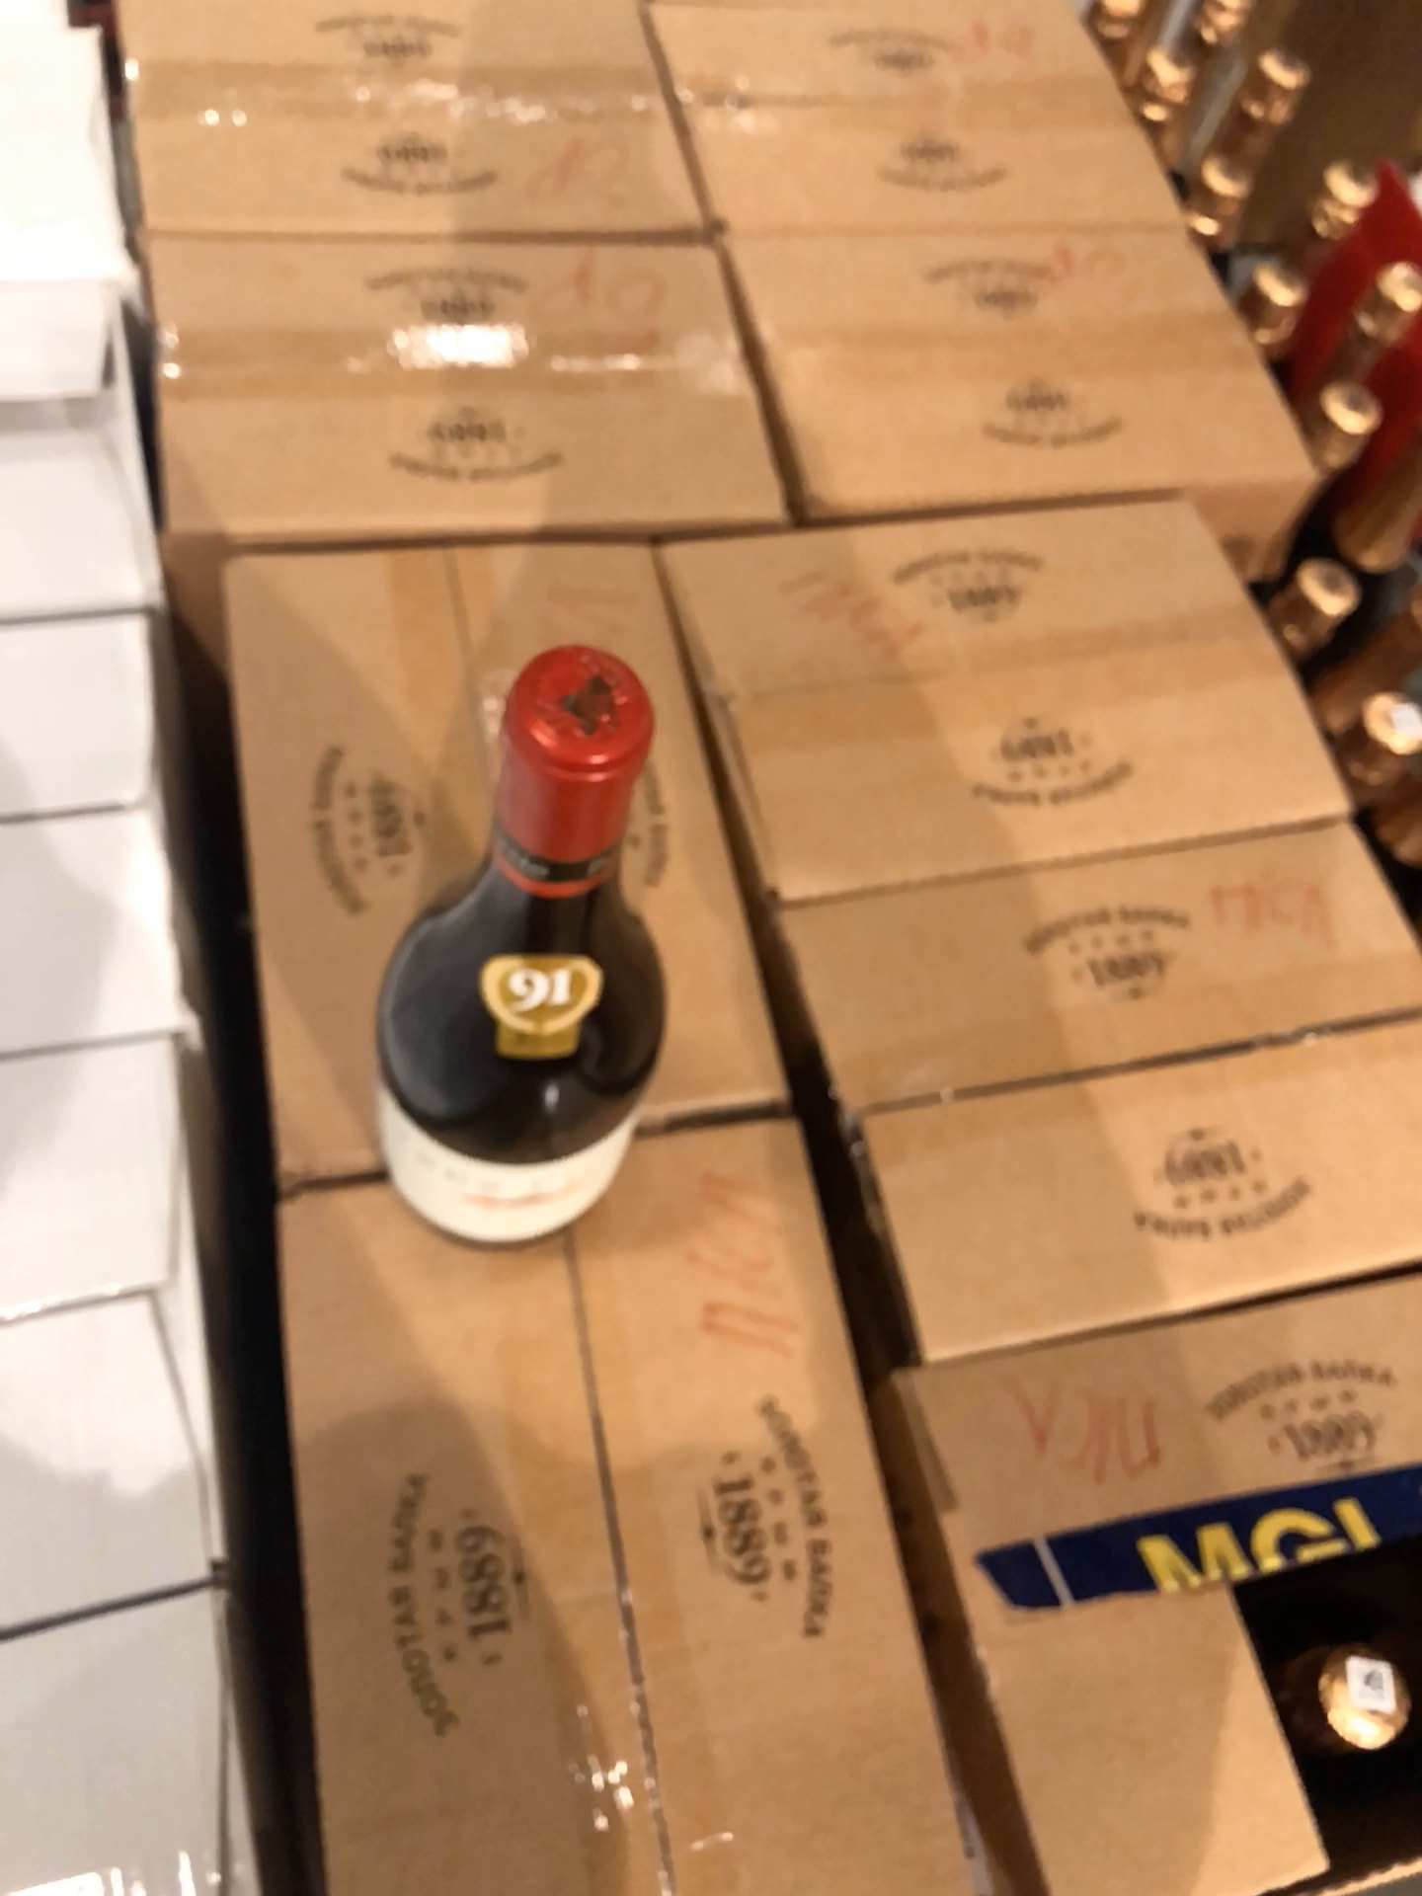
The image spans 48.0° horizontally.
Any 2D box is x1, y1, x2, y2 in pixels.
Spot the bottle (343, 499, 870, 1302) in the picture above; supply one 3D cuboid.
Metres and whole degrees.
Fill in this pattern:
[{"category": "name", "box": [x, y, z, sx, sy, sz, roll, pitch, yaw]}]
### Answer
[{"category": "bottle", "box": [-0.048, 0.009, 0.447, 0.100, 0.269, 0.100, 5, 61, -9]}]
